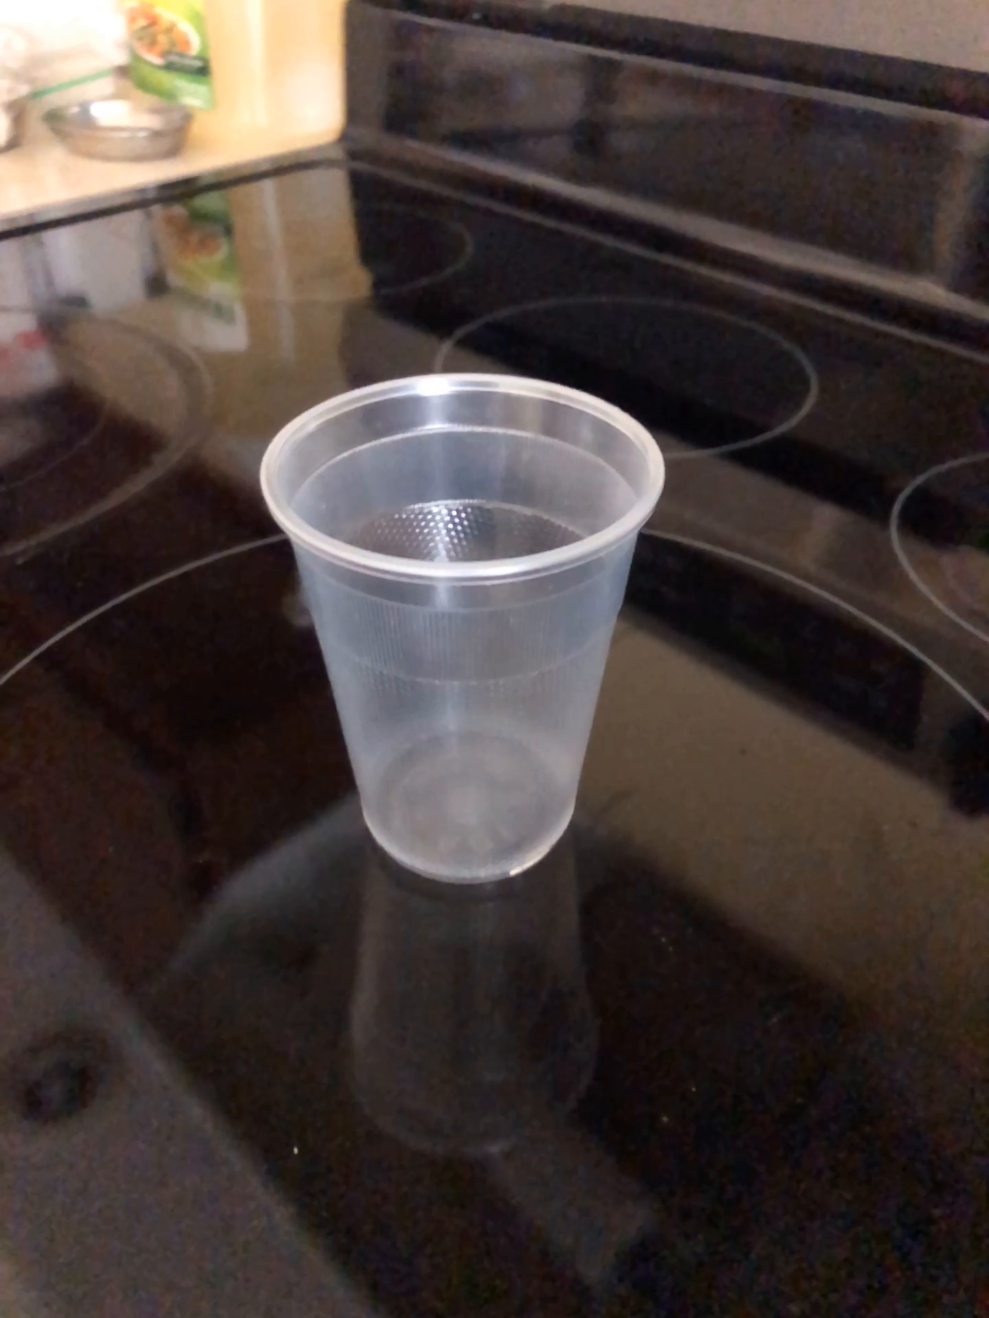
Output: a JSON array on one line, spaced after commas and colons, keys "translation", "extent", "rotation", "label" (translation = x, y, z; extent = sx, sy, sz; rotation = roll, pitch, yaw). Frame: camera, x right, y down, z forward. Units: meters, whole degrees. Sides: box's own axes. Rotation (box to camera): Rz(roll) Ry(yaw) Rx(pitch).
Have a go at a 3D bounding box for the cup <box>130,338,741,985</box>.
[{"translation": [-0.012, -0.005, 0.227], "extent": [0.081, 0.081, 0.079], "rotation": [0, 37, 0], "label": "cup"}]
